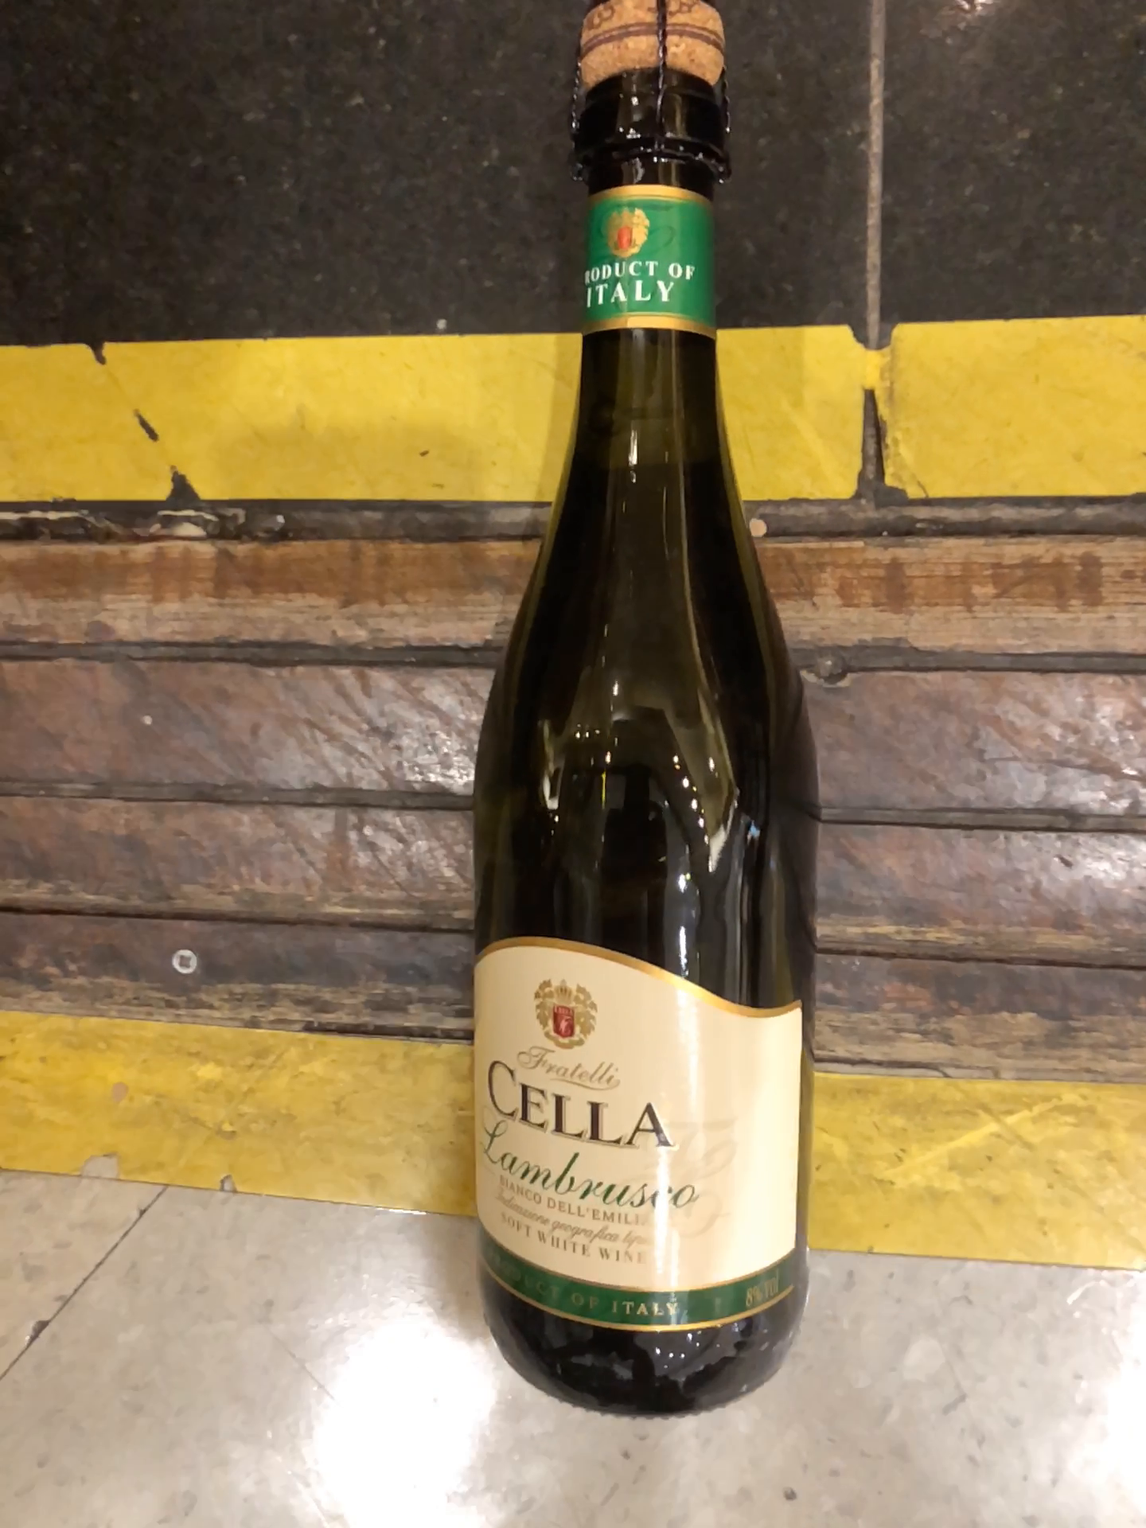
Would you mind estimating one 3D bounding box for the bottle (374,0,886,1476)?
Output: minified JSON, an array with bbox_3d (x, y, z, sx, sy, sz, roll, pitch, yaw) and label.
[{"bbox_3d":[0.012,-0.011,0.277,0.090,0.060,0.310,3,100,10],"label":"bottle"}]
